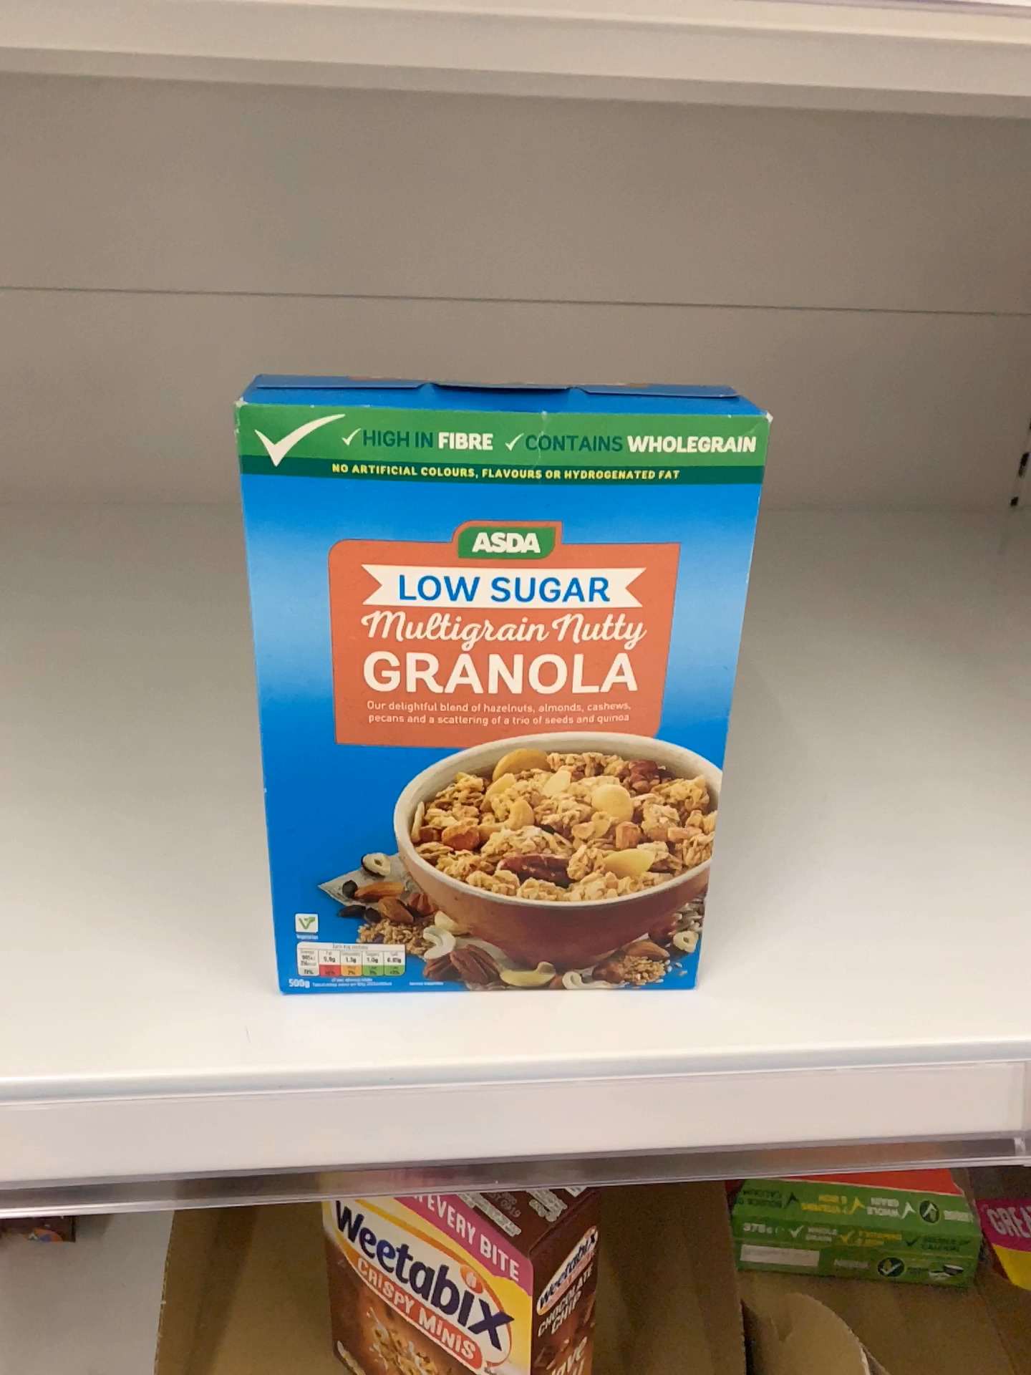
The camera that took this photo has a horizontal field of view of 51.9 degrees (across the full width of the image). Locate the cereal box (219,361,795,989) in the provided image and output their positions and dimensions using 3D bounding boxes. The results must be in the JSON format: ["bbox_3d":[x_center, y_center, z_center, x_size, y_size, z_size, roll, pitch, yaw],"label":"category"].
[{"bbox_3d":[-0.007,0.004,0.430,0.190,0.248,0.061,1,26,-4],"label":"cereal box"}]
